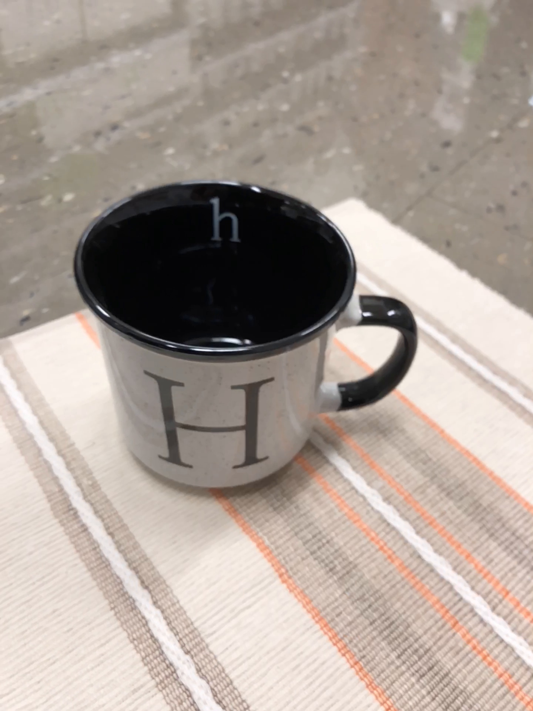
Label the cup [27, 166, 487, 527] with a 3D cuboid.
[{"bbox_3d":[-0.003,-0.004,0.253,0.140,0.100,0.100,4,46,0],"label":"cup"}]
